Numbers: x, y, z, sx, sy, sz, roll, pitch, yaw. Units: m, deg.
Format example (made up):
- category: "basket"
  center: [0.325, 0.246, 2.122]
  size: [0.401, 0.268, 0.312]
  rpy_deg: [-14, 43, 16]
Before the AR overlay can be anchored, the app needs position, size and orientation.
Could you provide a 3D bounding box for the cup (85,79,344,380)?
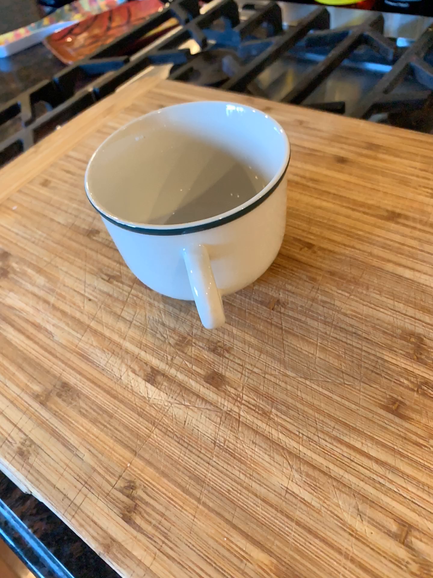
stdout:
- category: "cup"
  center: [-0.006, -0.034, 0.216]
  size: [0.090, 0.060, 0.121]
  rpy_deg: [-13, 49, 1]
